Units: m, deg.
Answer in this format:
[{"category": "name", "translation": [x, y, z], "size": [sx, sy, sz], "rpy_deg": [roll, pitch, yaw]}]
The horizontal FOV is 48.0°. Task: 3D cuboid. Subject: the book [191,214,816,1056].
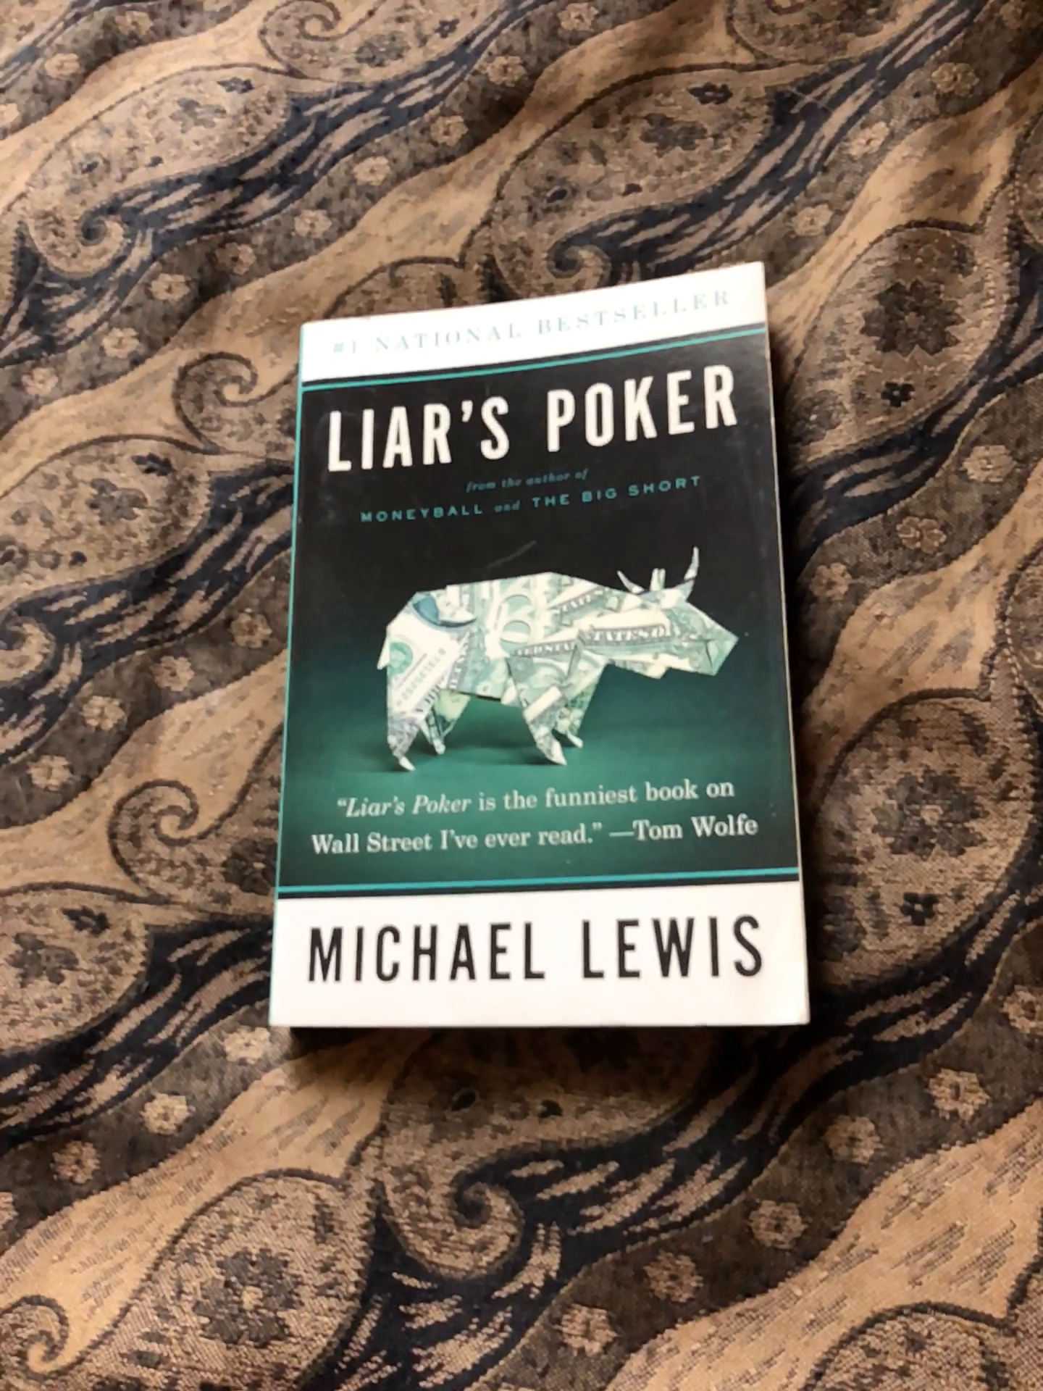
[{"category": "book", "translation": [-0.002, -0.016, 0.317], "size": [0.150, 0.040, 0.210], "rpy_deg": [-2, 75, 15]}]
